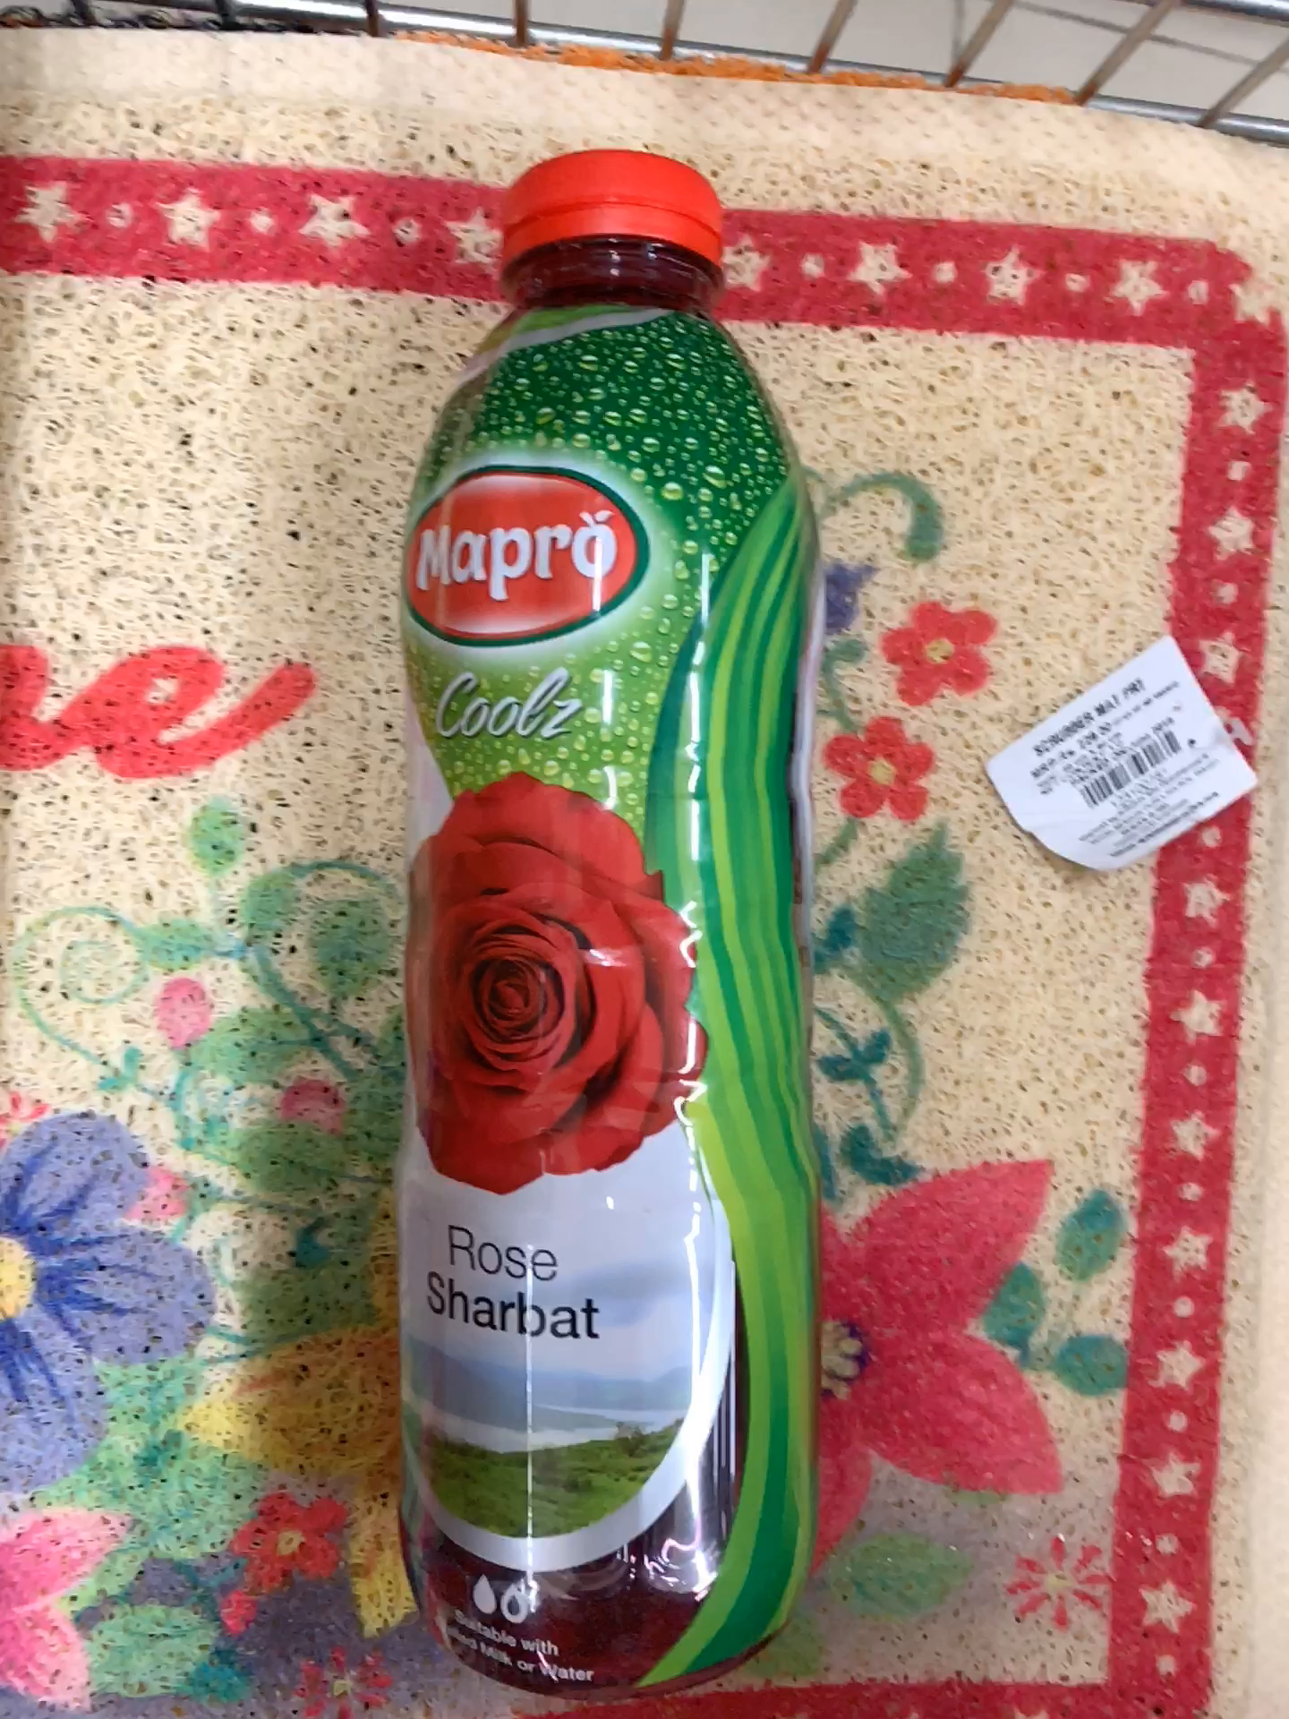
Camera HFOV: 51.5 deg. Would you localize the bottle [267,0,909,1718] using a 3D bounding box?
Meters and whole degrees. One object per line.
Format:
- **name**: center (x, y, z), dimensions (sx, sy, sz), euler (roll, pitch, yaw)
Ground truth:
- **bottle**: center (-0.004, 0.000, 0.225), dimensions (0.080, 0.080, 0.250), euler (2, 95, 19)
